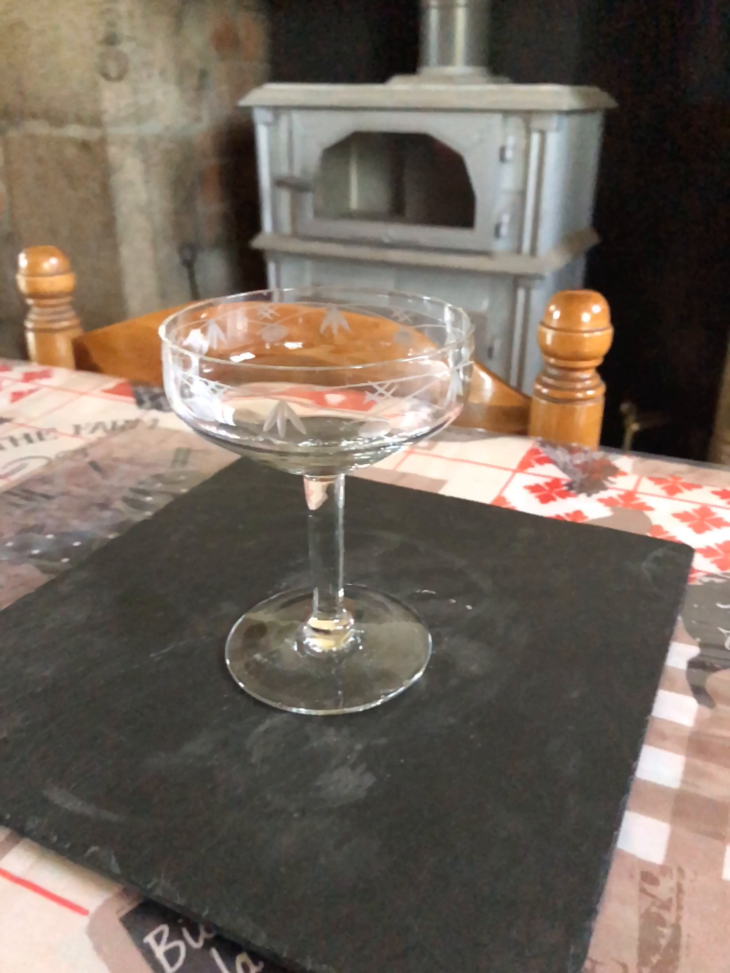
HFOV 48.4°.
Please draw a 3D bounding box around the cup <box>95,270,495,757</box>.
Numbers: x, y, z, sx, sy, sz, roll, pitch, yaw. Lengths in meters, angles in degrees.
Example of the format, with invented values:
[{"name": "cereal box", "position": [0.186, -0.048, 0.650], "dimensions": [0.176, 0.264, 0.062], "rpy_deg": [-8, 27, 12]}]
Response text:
[{"name": "cup", "position": [-0.014, 0.001, 0.264], "dimensions": [0.090, 0.119, 0.091], "rpy_deg": [0, 25, 0]}]
